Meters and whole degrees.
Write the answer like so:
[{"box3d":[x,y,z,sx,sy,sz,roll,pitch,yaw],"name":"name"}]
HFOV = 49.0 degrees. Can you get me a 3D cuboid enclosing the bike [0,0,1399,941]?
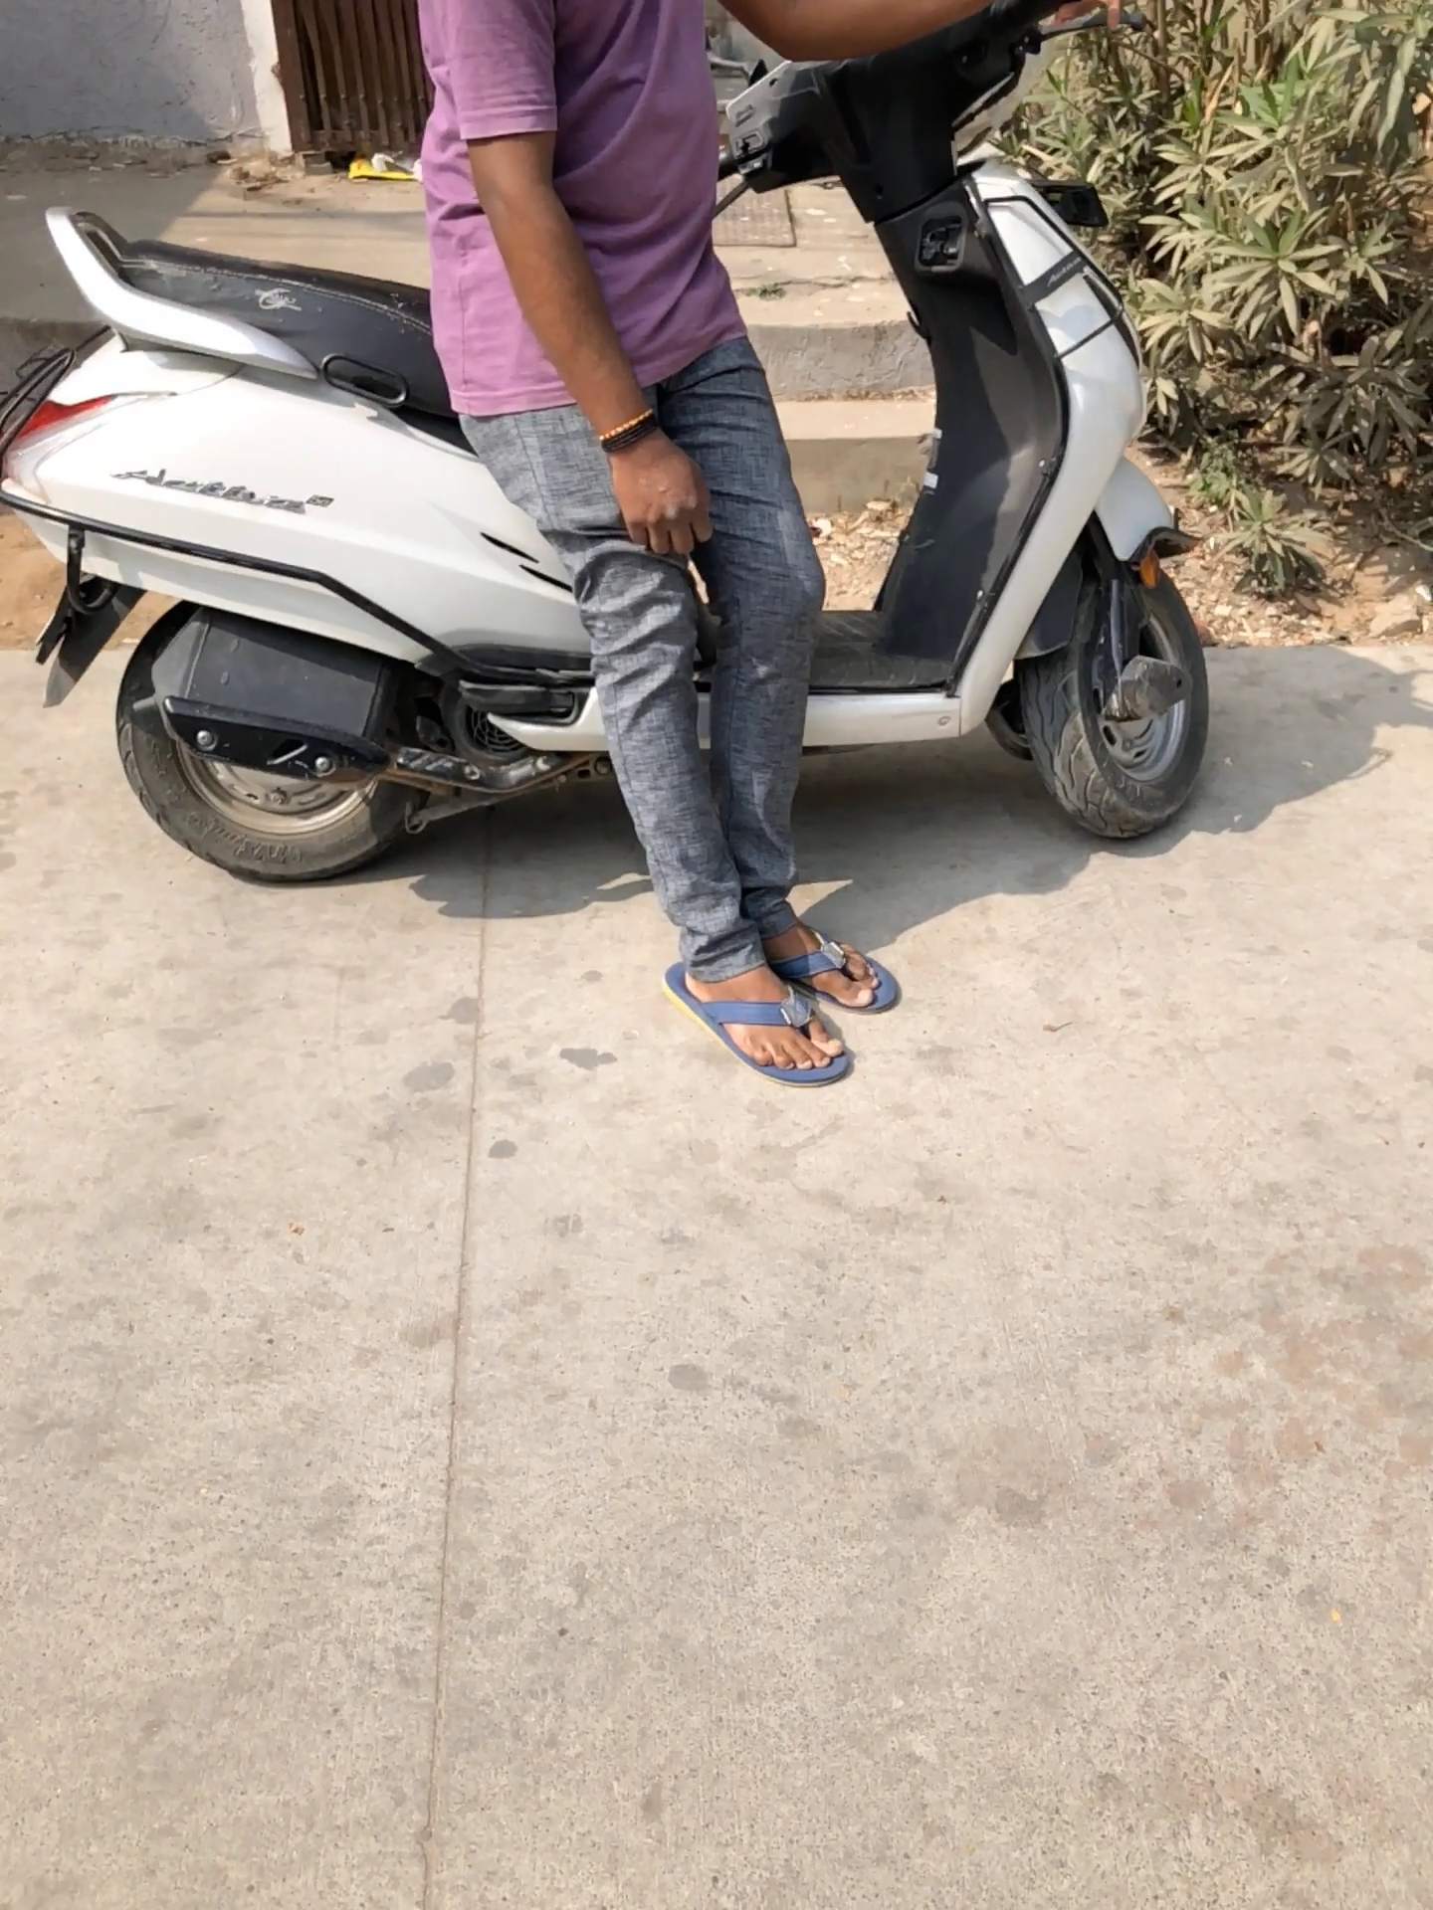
[{"box3d":[-0.050,-0.724,2.127,1.522,1.007,0.650,-9,39,-11],"name":"bike"}]
